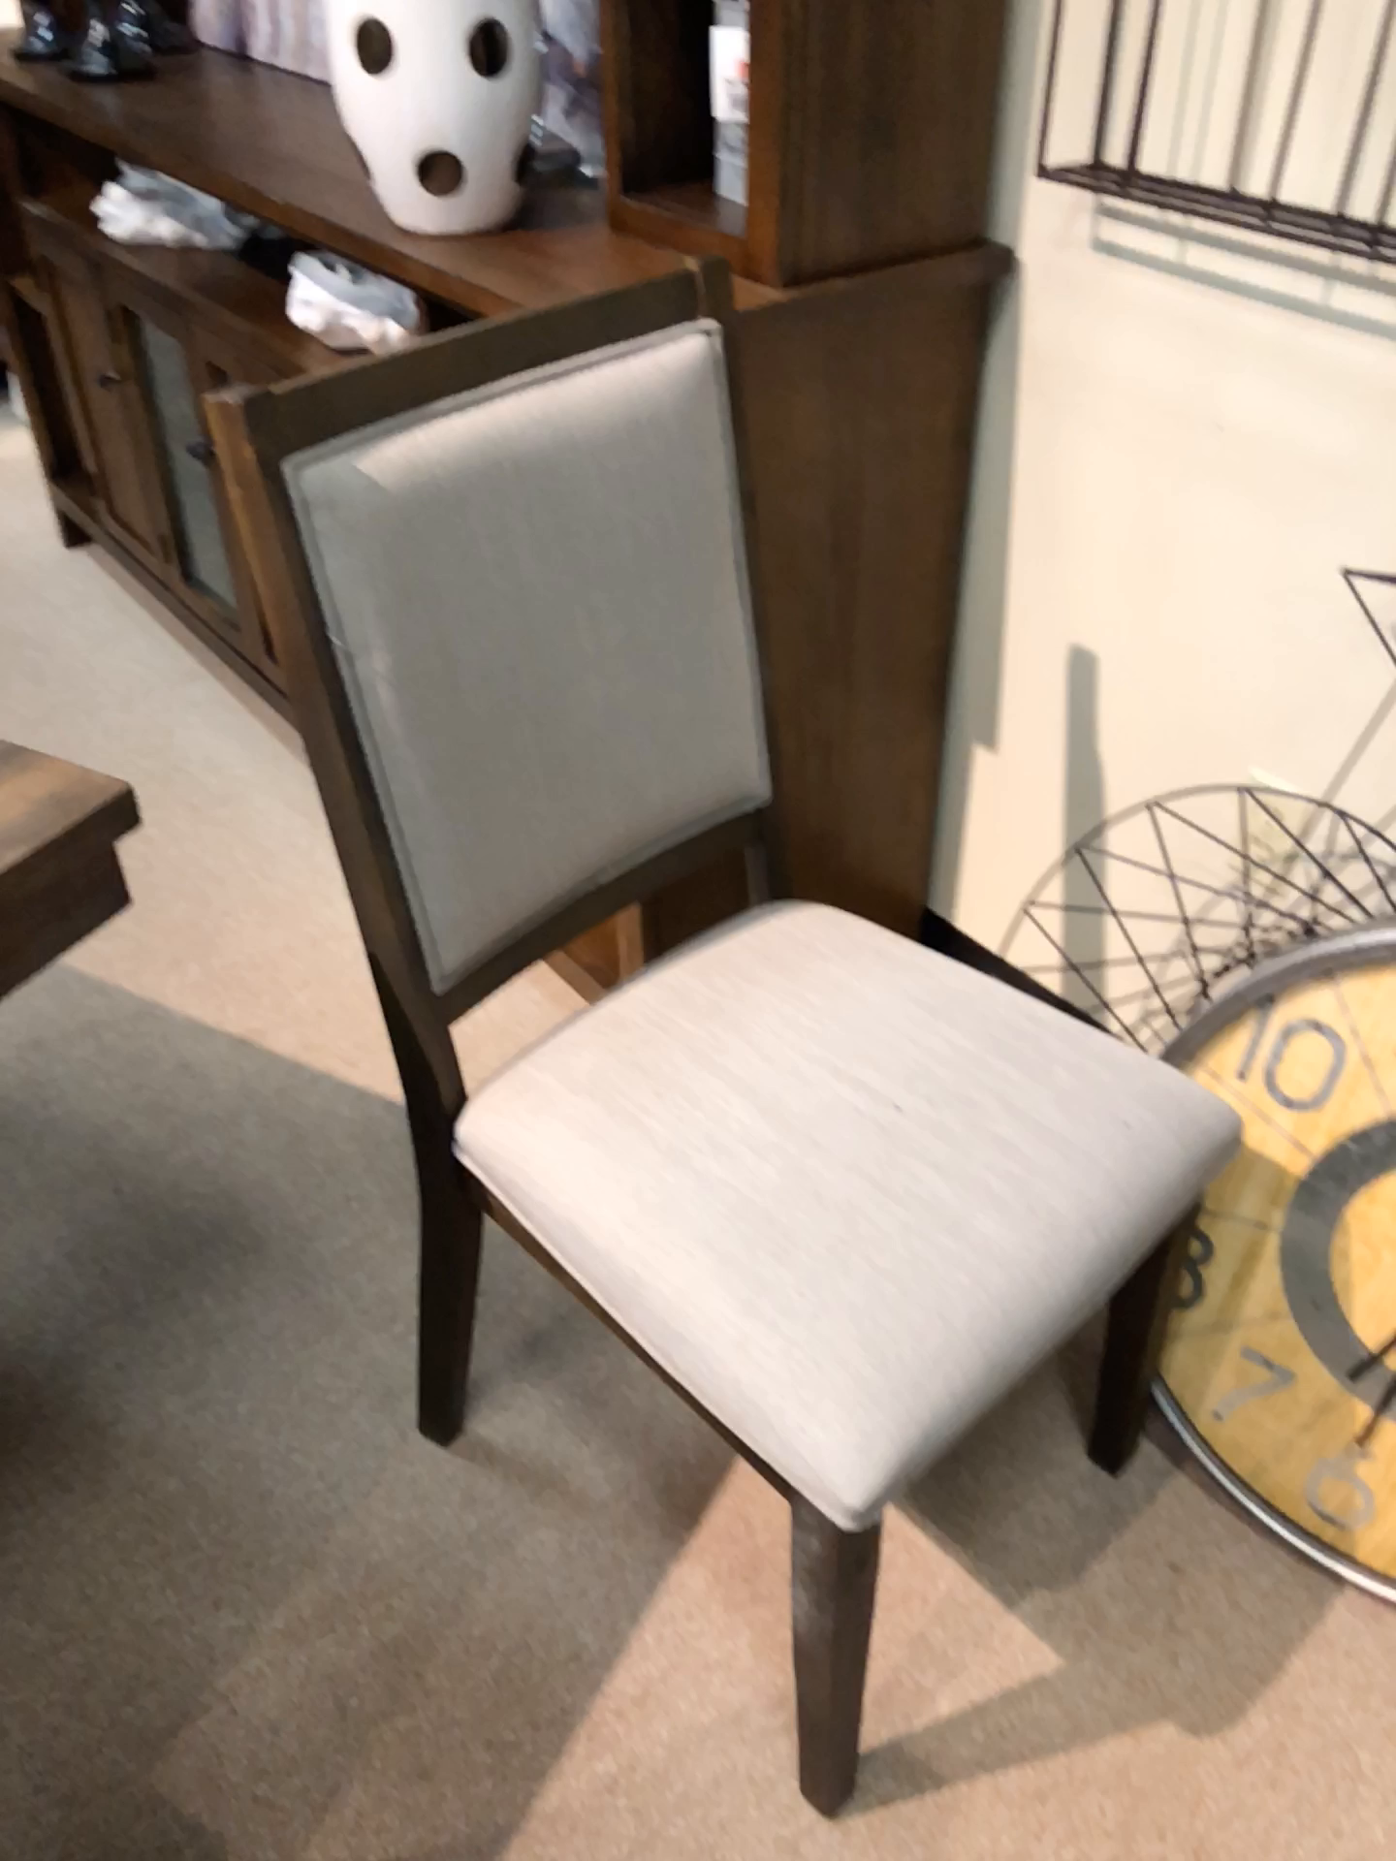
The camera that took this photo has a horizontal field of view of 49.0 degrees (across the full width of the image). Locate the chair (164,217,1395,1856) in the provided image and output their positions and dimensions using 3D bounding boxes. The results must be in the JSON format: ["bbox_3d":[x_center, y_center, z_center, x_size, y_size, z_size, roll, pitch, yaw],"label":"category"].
[{"bbox_3d":[0.065,0.080,1.069,0.492,0.924,0.461,30,47,34],"label":"chair"}]
